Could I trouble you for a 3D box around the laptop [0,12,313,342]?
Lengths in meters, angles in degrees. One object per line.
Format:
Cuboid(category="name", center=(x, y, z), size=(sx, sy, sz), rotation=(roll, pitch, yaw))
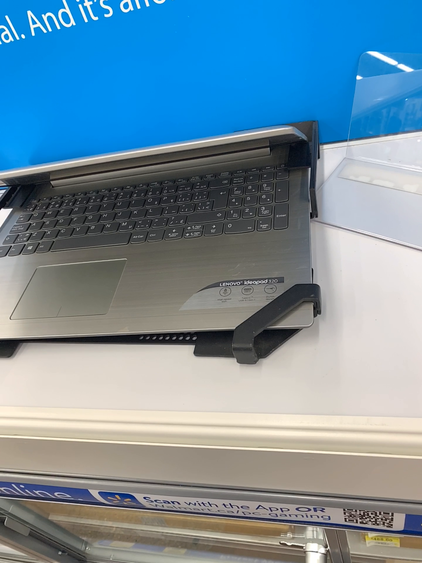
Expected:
Cuboid(category="laptop", center=(-0.089, -0.085, 0.364), size=(0.326, 0.115, 0.230), rotation=(-4, 47, 16))
